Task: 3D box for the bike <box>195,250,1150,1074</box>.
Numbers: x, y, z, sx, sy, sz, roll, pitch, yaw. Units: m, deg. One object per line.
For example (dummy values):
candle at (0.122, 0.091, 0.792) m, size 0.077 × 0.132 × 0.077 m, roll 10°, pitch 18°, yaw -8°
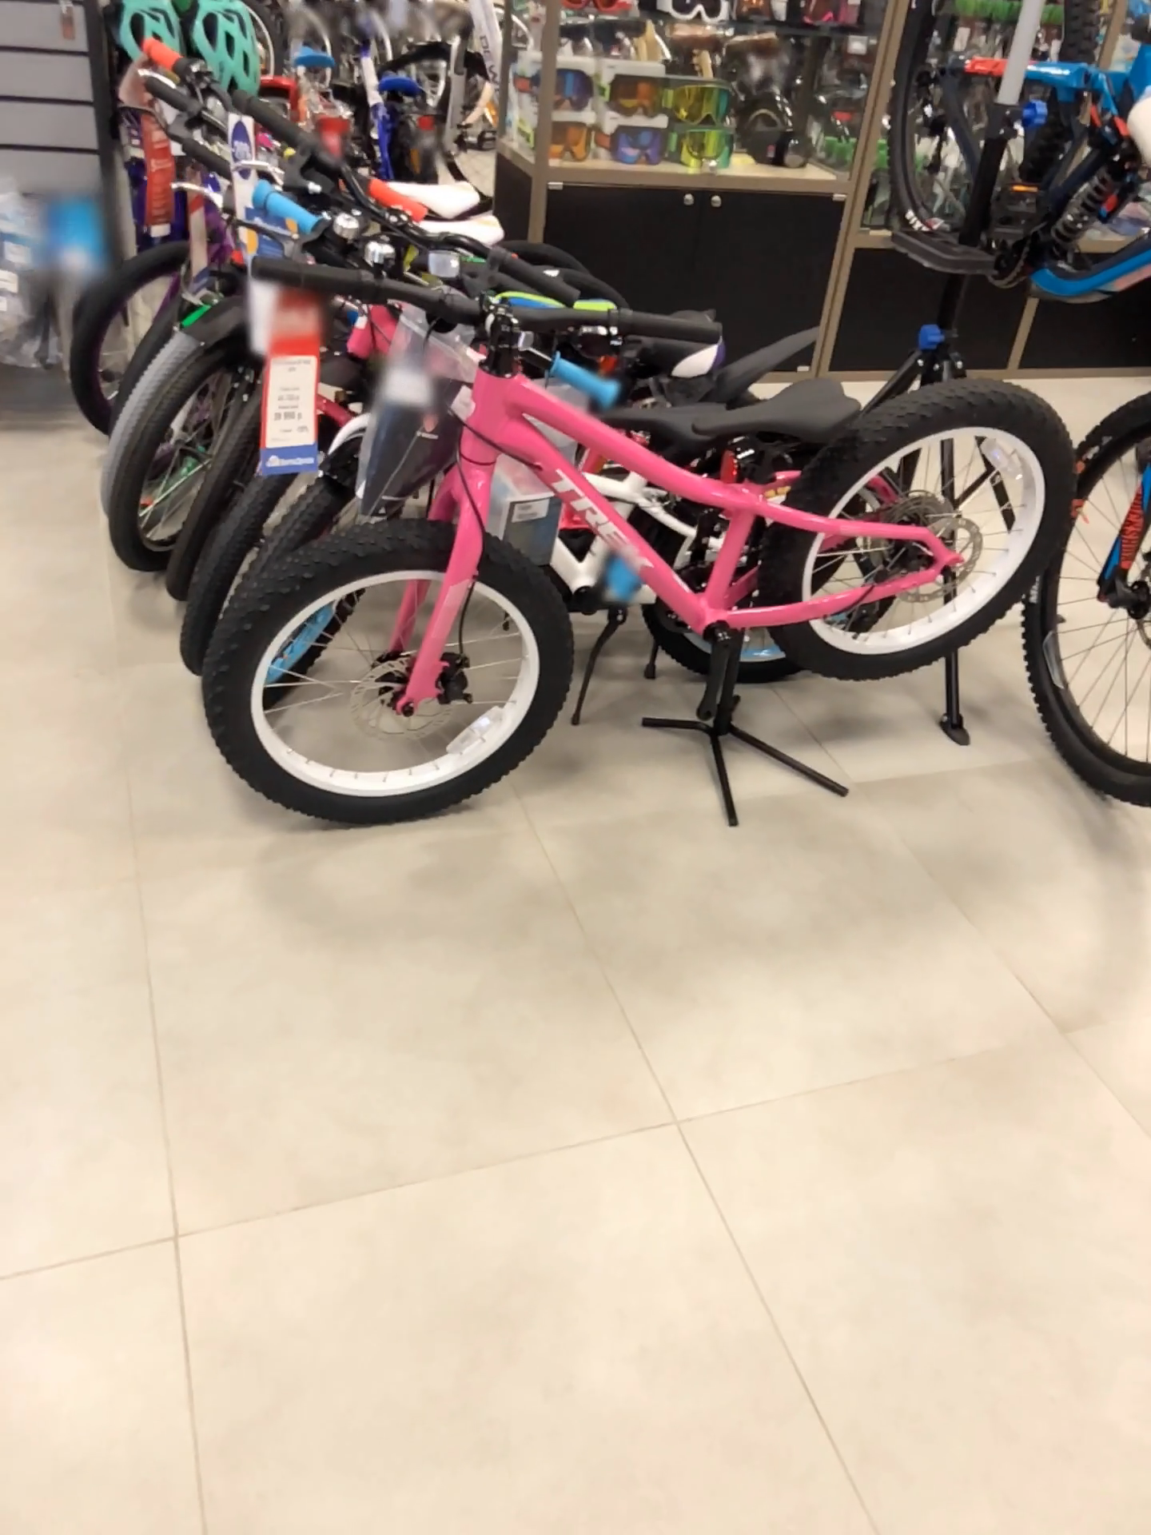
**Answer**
bike at (0.160, -0.214, 1.775) m, size 1.336 × 0.668 × 0.573 m, roll -12°, pitch 38°, yaw -14°
